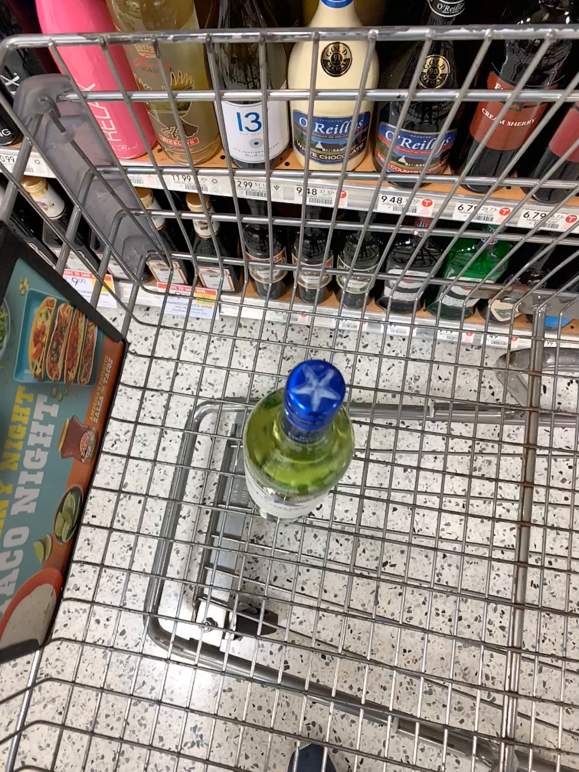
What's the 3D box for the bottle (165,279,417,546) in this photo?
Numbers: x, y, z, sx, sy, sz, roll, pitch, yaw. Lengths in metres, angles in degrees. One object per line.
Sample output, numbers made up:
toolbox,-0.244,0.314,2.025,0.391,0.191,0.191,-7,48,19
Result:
bottle,0.000,0.052,0.436,0.090,0.339,0.090,0,73,-1
